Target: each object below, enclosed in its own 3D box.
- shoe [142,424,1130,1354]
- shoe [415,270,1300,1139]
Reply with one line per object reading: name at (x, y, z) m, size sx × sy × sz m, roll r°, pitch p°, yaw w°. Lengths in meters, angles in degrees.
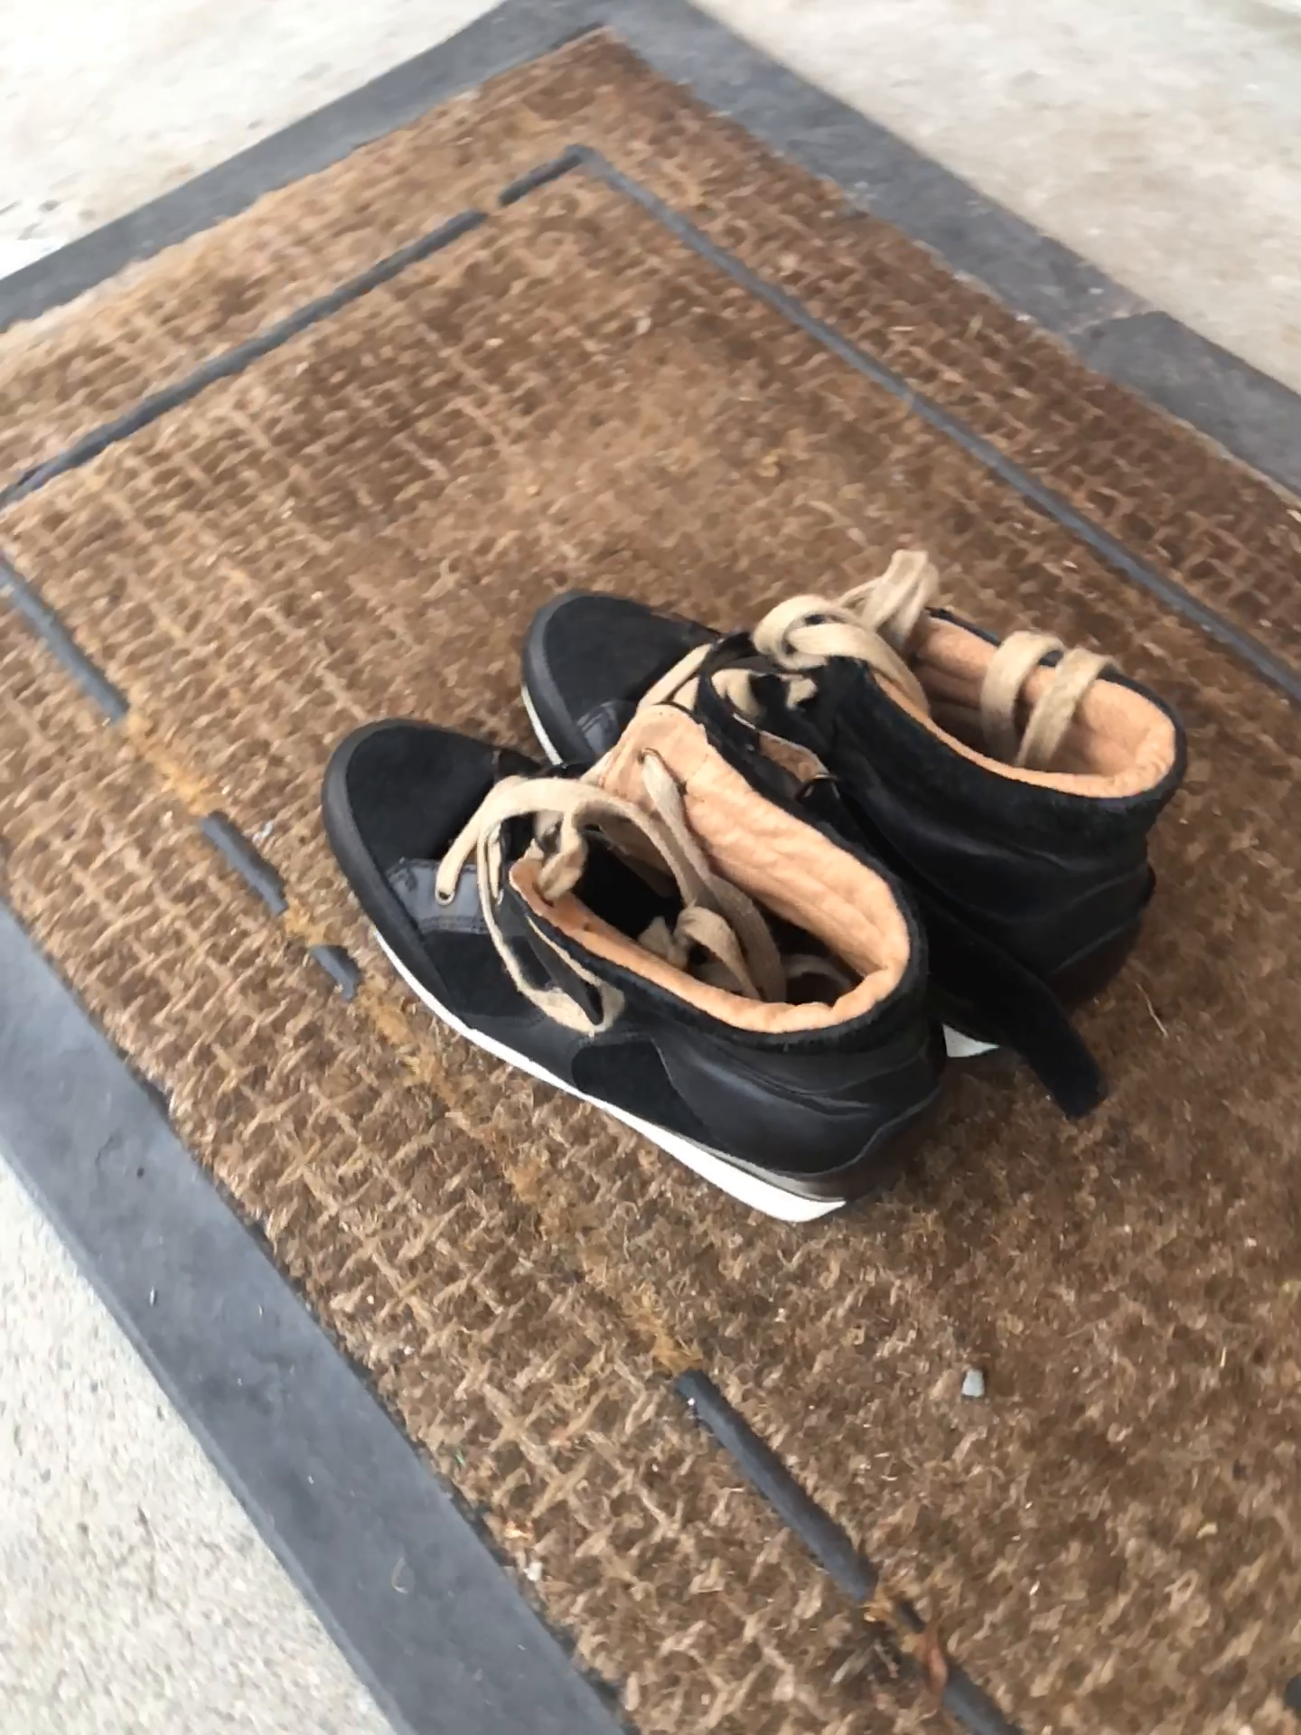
shoe at (-0.010, 0.011, 0.418) m, size 0.241 × 0.159 × 0.090 m, roll 37°, pitch 69°, yaw 19°
shoe at (0.053, -0.046, 0.445) m, size 0.231 × 0.159 × 0.090 m, roll 37°, pitch 69°, yaw 19°
